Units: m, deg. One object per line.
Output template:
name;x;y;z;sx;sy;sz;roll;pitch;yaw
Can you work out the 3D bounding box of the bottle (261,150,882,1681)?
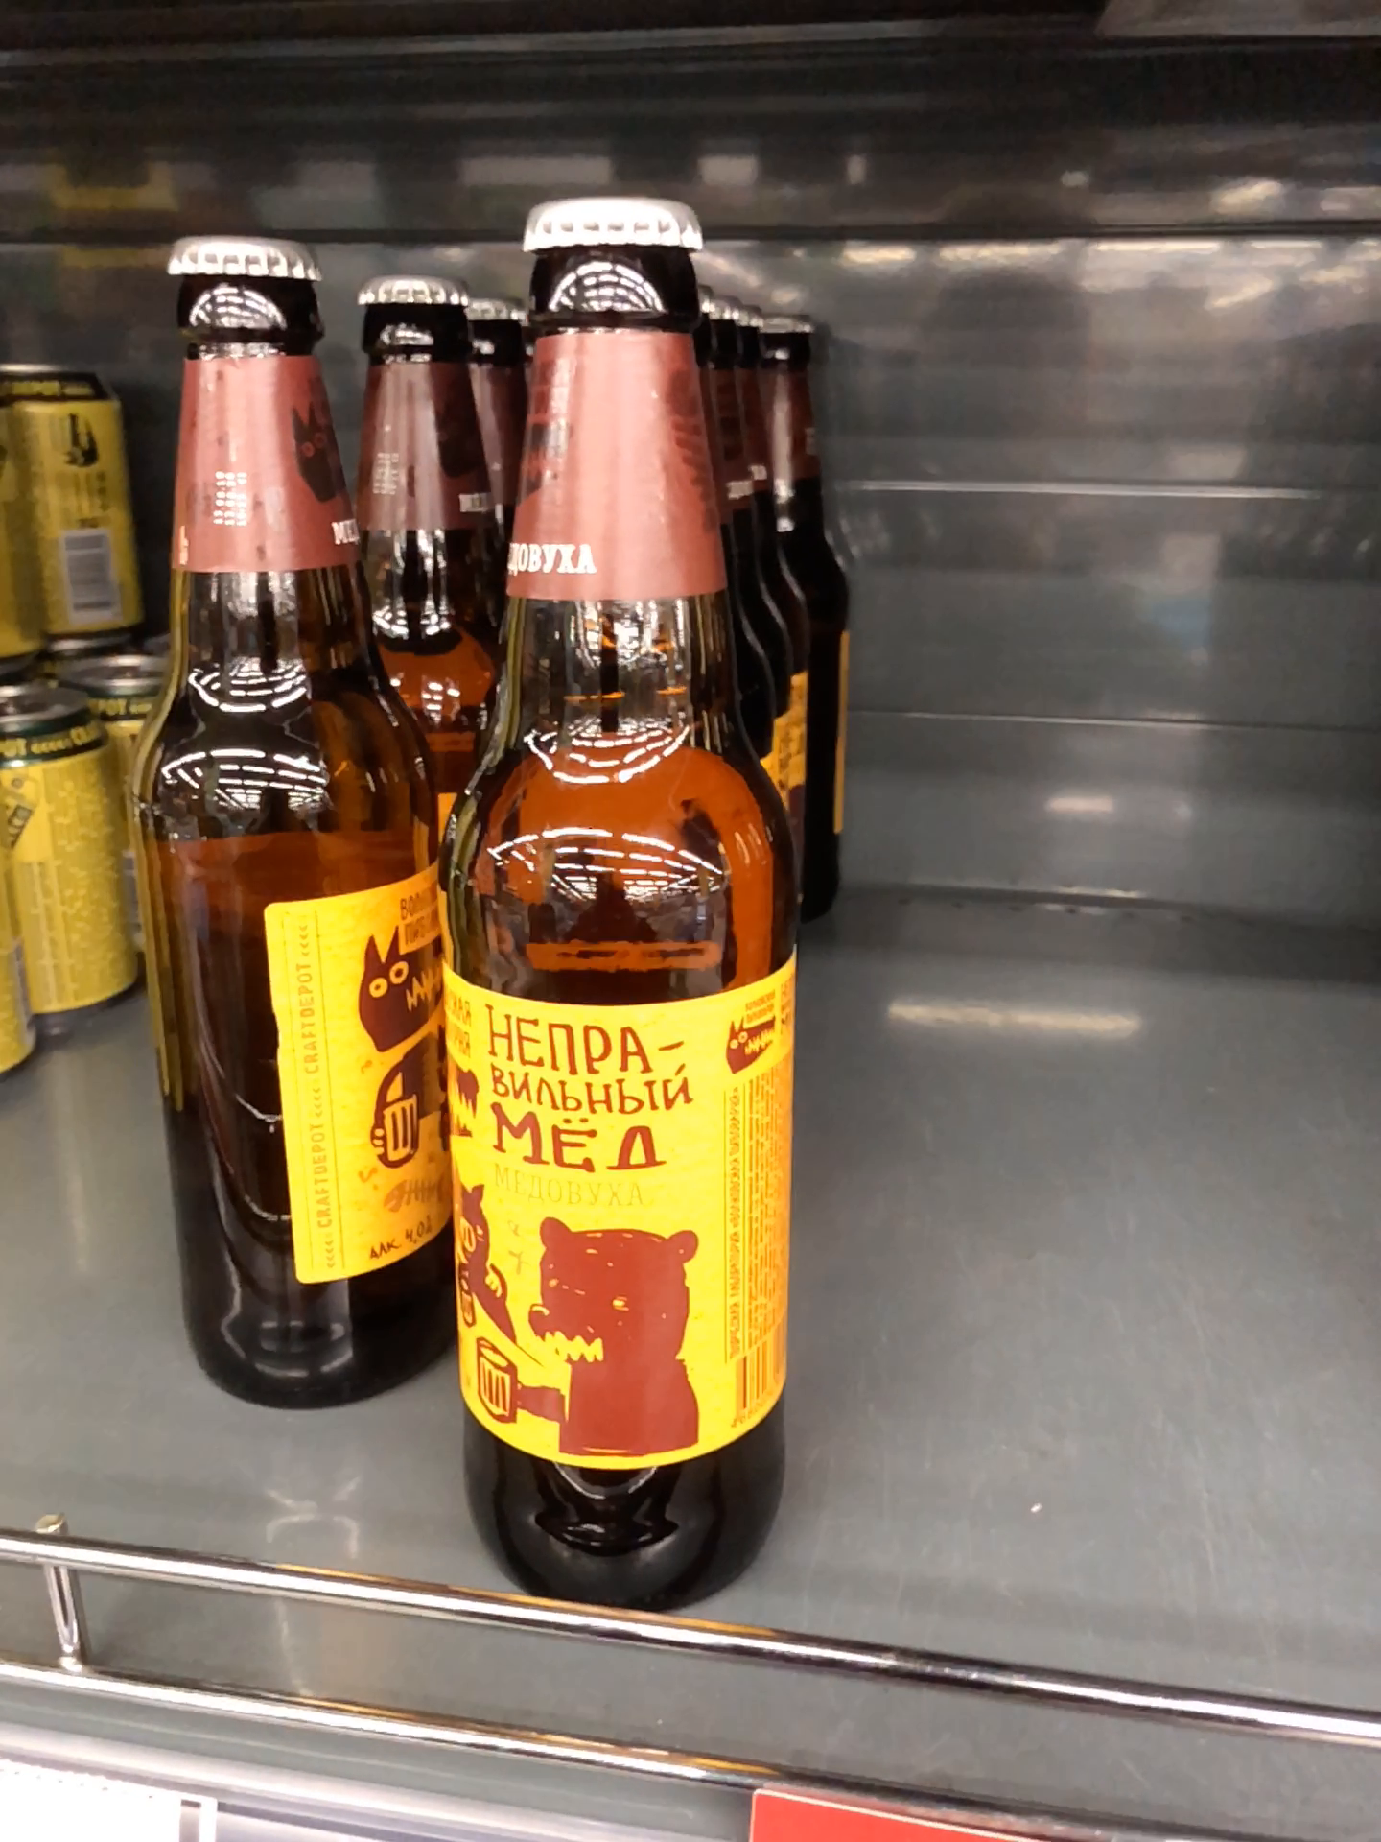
bottle;-0.013;0.005;0.268;0.080;0.243;0.070;3;19;7
